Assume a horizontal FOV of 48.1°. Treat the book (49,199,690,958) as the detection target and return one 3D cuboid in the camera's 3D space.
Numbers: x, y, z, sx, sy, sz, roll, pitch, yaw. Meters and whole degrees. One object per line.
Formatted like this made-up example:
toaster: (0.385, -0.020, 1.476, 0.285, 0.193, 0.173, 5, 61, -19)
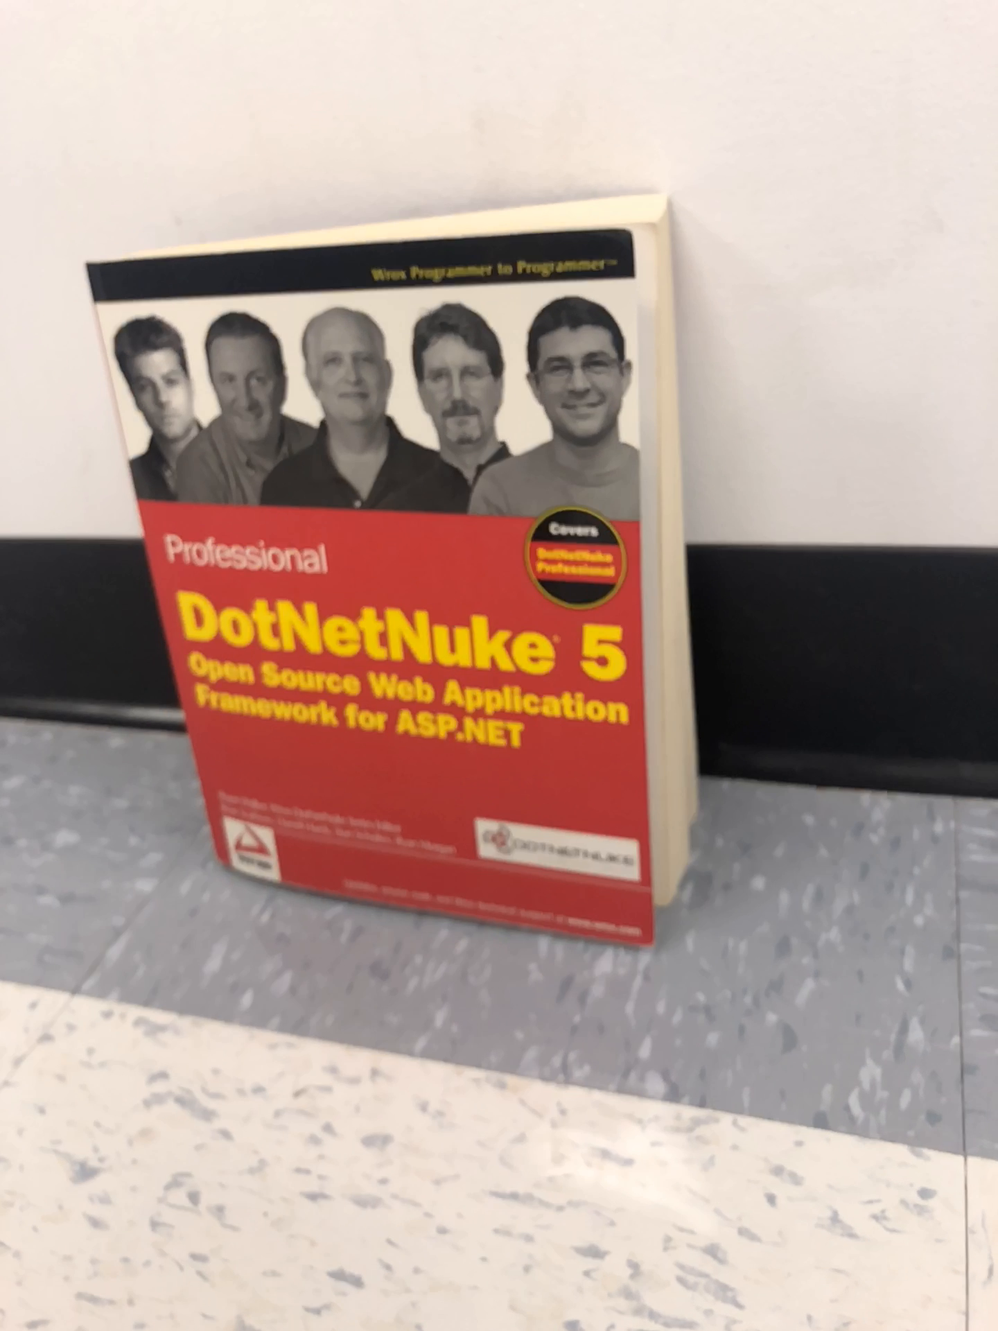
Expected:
book: (-0.040, -0.032, 0.419, 0.210, 0.249, 0.060, 5, 23, 23)
